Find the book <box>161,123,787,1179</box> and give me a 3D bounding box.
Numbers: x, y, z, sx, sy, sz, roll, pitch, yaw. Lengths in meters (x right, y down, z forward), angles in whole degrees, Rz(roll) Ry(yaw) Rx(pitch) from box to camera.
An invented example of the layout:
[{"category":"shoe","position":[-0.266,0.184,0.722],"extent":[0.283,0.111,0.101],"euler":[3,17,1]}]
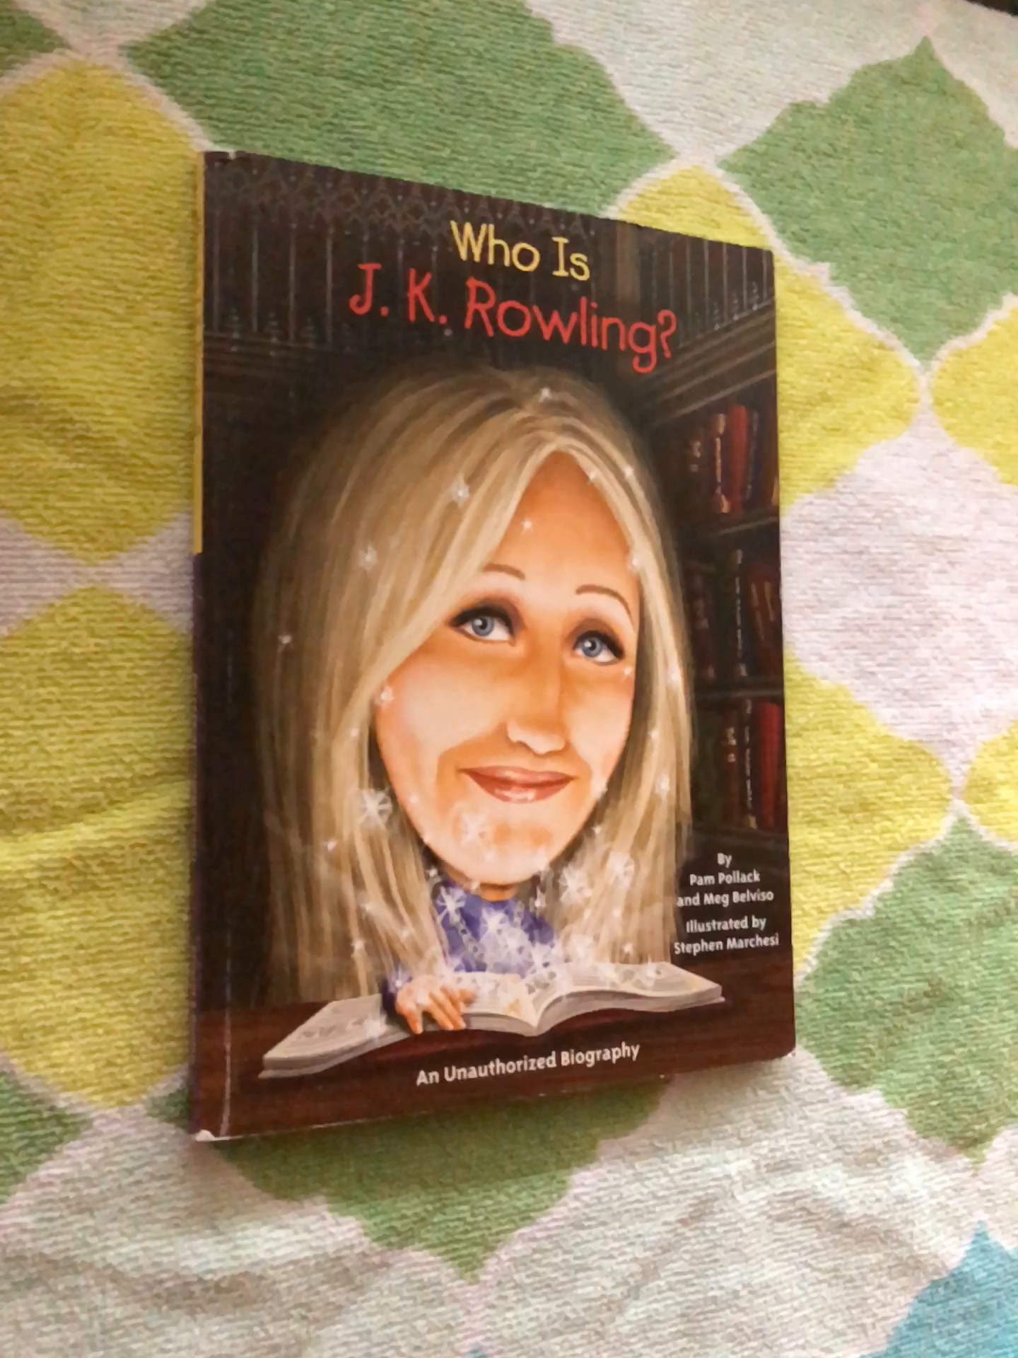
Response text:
[{"category":"book","position":[-0.003,-0.007,0.228],"extent":[0.126,0.012,0.187],"euler":[1,85,-22]}]
